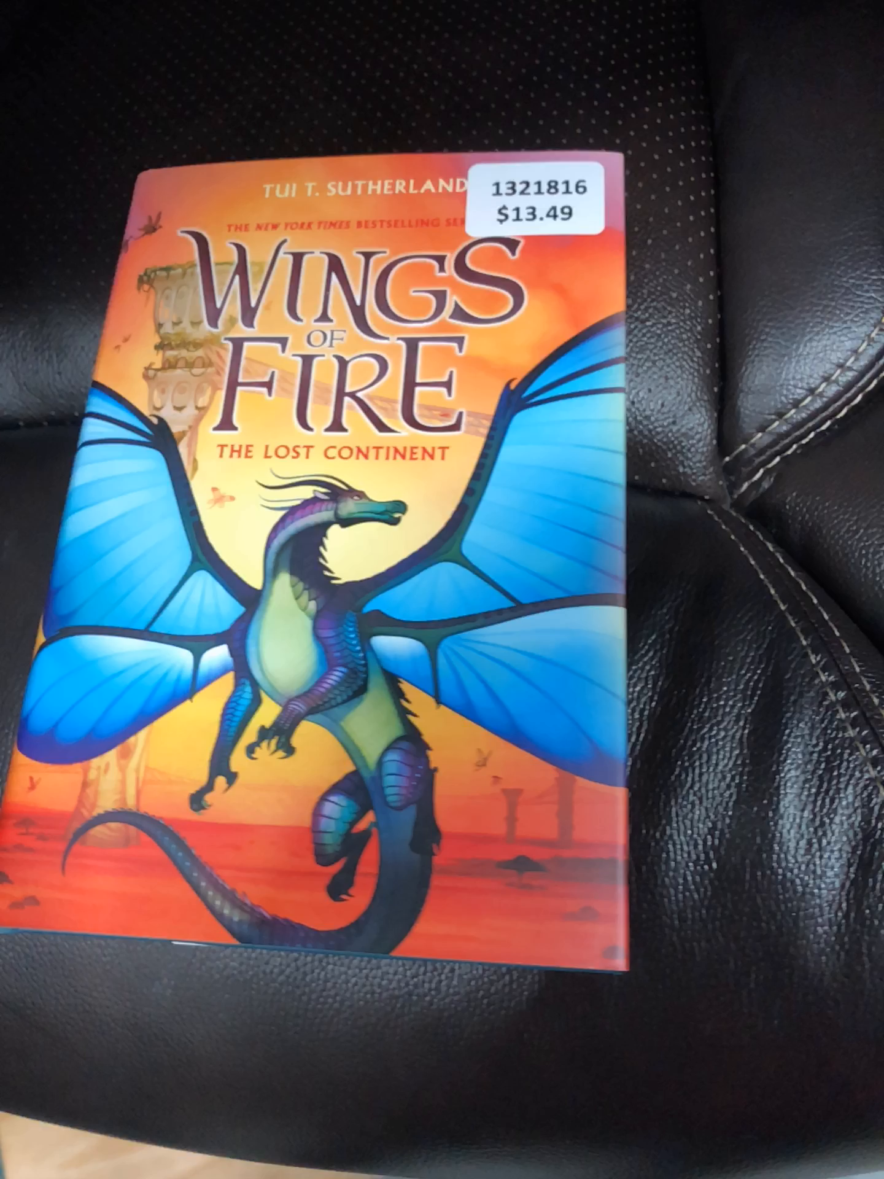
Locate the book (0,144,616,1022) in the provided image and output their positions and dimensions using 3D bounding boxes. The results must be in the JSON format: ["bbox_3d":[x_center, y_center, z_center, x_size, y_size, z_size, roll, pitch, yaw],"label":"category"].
[{"bbox_3d":[-0.033,-0.015,0.255,0.148,0.030,0.218,2,70,8],"label":"book"}]
